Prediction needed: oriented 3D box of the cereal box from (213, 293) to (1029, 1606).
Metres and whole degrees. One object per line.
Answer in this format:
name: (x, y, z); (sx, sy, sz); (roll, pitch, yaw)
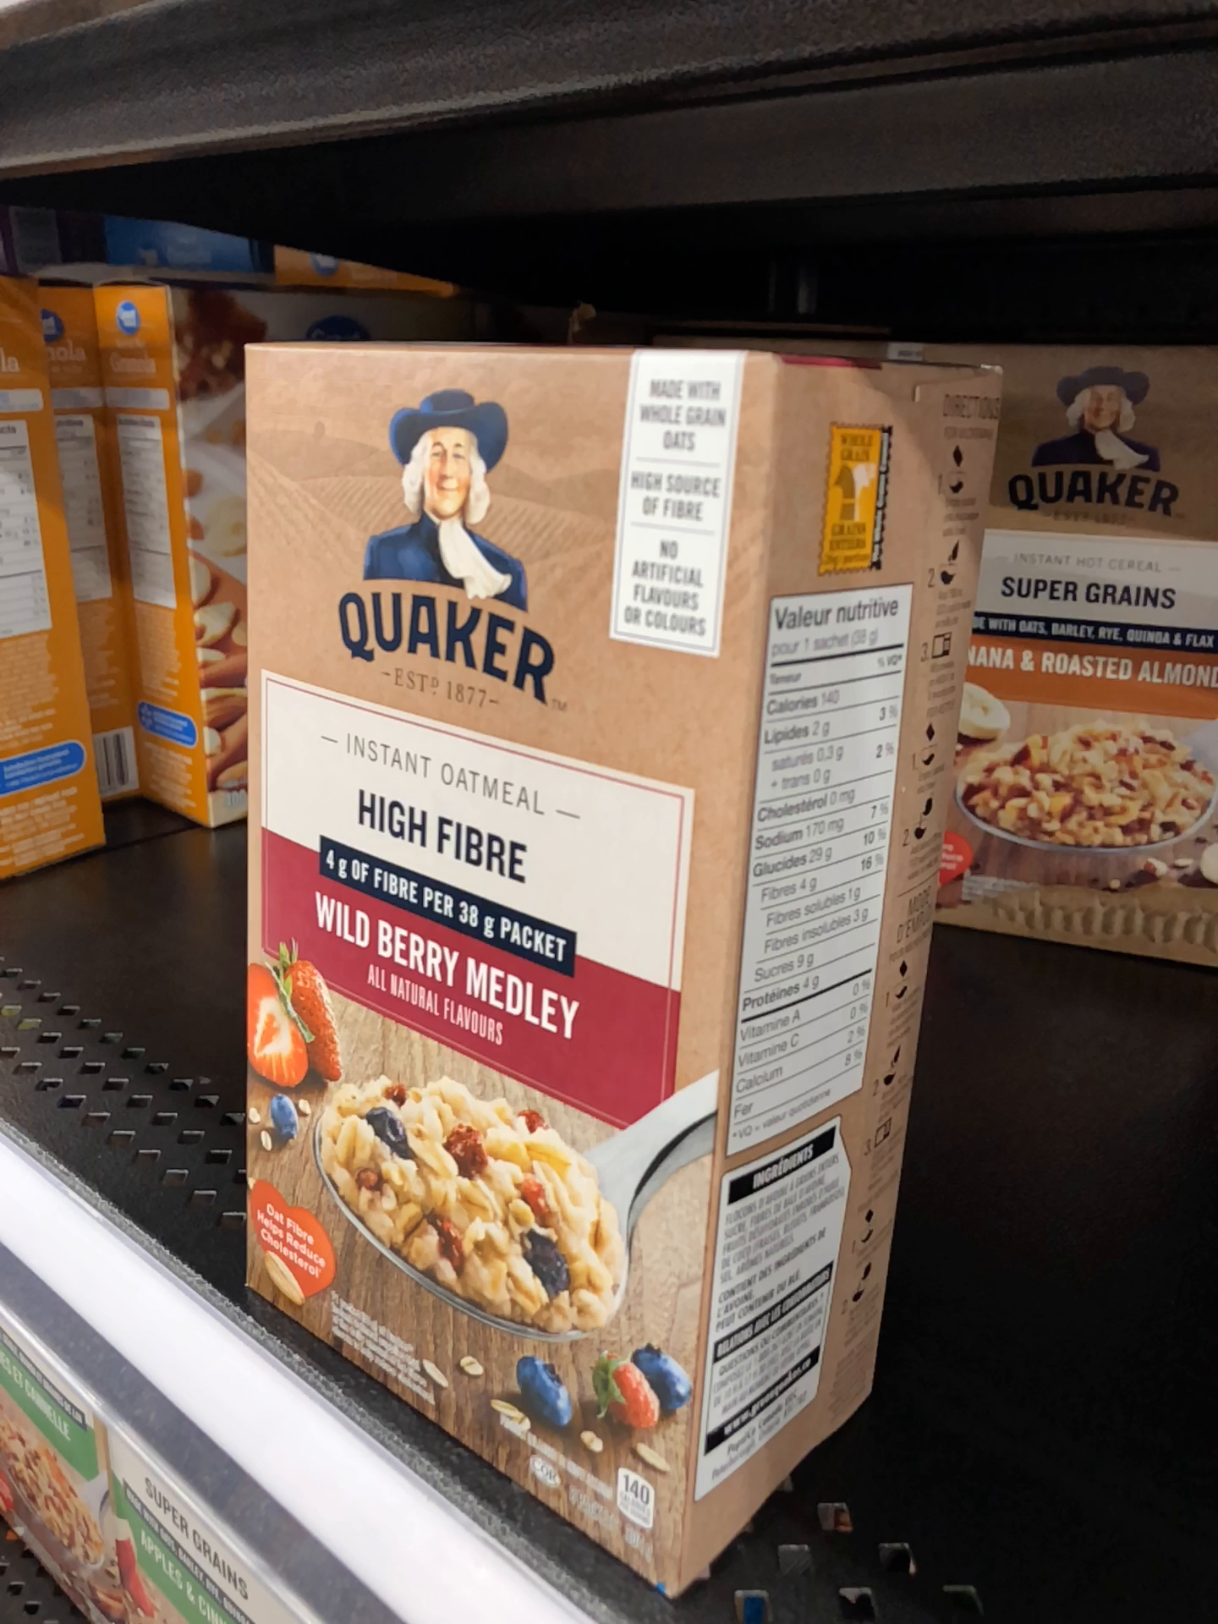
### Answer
cereal box: (-0.009, 0.012, 0.254); (0.130, 0.199, 0.060); (16, 20, 38)
